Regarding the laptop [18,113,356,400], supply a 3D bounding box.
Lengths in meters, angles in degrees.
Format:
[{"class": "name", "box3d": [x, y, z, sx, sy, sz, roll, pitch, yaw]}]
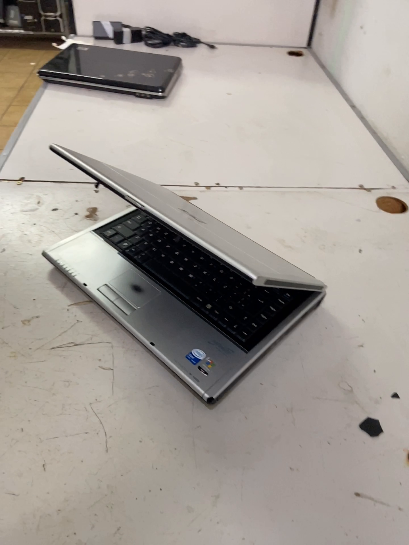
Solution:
[{"class": "laptop", "box3d": [-0.030, -0.053, 0.525, 0.320, 0.144, 0.227, 34, 50, 30]}]
